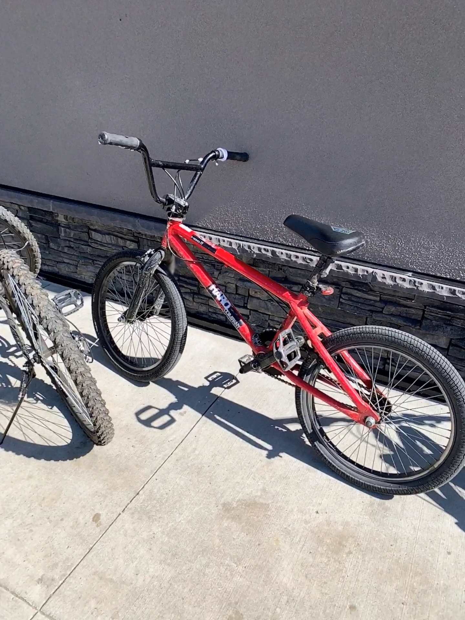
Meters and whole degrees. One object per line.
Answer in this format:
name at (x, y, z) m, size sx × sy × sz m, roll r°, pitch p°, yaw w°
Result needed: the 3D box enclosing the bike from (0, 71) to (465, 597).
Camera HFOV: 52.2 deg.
bike at (0.076, -0.122, 1.466) m, size 1.313 × 0.908 × 0.776 m, roll 22°, pitch 34°, yaw 26°
